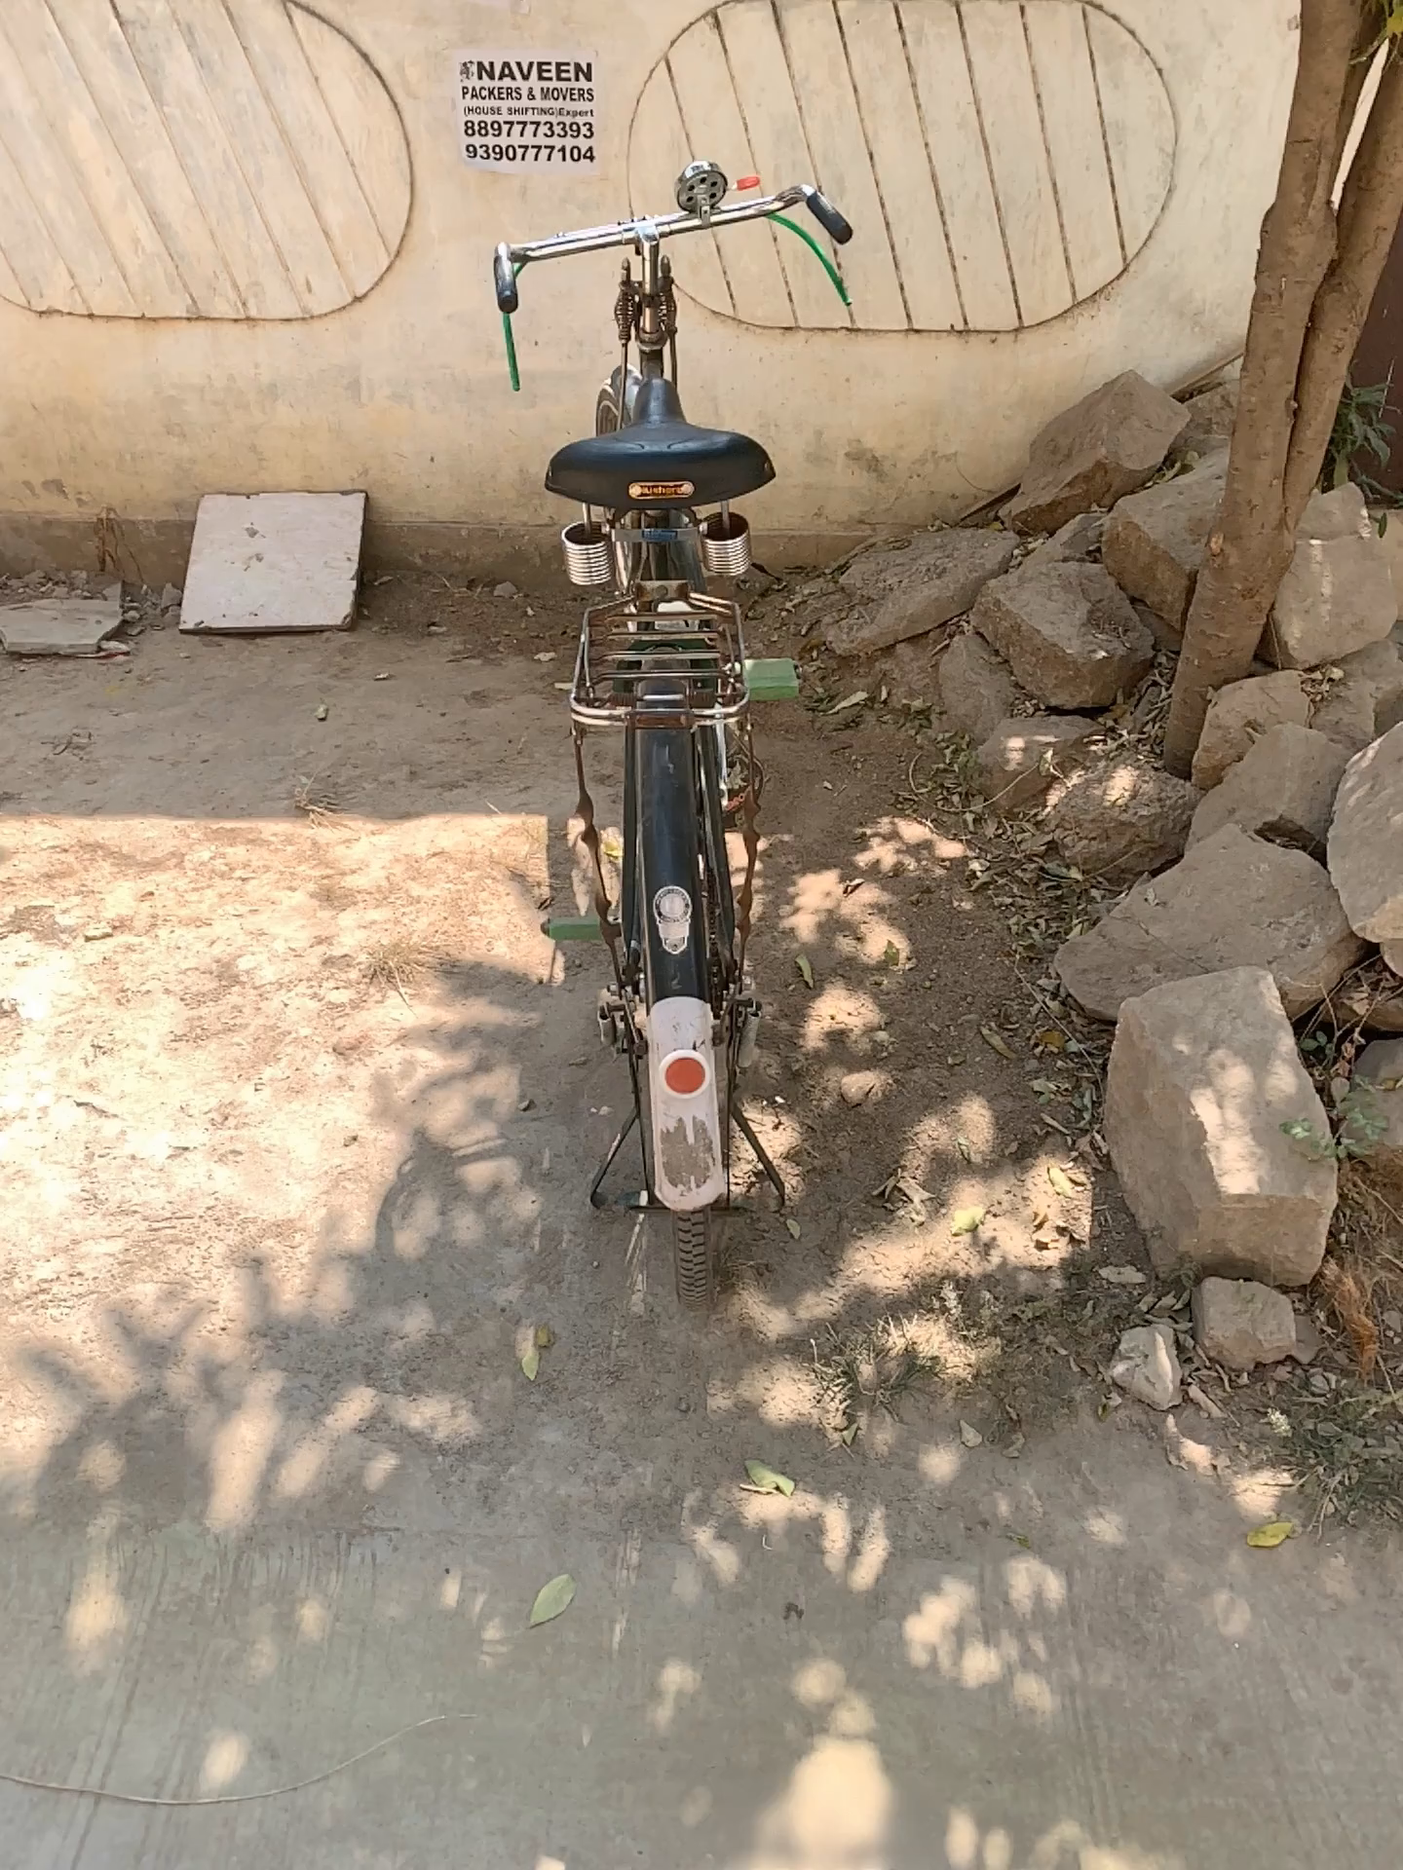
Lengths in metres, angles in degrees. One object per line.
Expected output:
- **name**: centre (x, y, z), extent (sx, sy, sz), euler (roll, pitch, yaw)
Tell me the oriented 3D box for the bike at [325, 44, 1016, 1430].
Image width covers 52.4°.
- **bike**: centre (-0.123, -0.431, 1.866), extent (0.465, 0.994, 1.661), euler (-4, 39, -6)
